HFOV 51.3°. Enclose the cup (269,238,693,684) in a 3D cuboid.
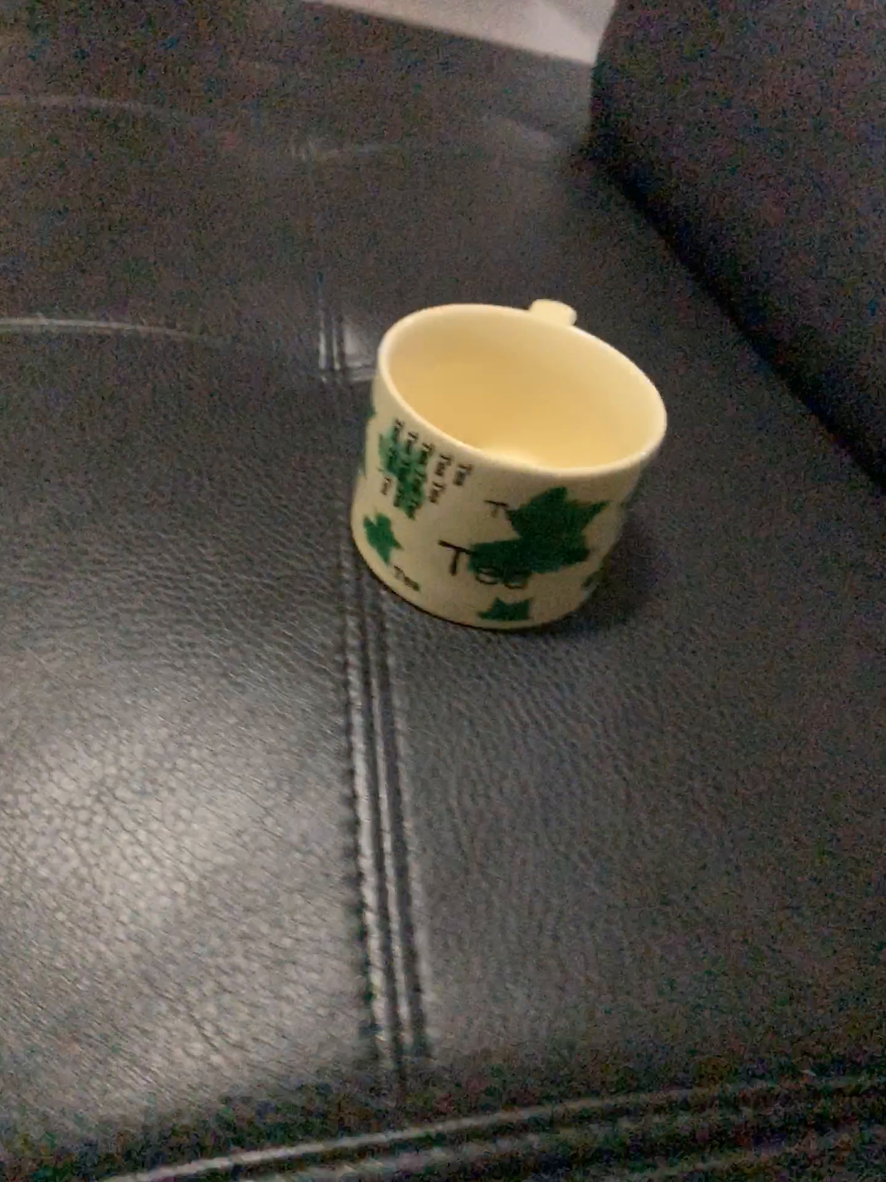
[{"bbox_3d":[0.017,-0.047,0.277,0.090,0.059,0.119,20,38,5],"label":"cup"}]
